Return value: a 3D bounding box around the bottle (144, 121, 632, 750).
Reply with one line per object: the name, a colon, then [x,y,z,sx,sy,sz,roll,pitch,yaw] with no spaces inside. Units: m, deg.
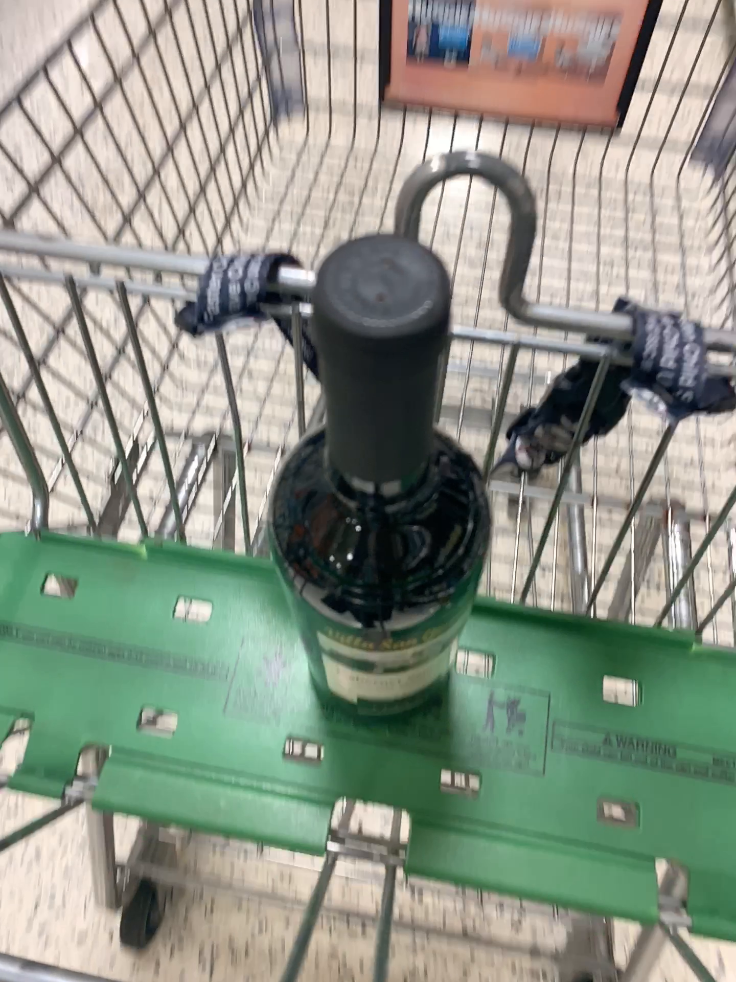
bottle: [0.002,0.022,0.273,0.080,0.279,0.075,0,62,1]
